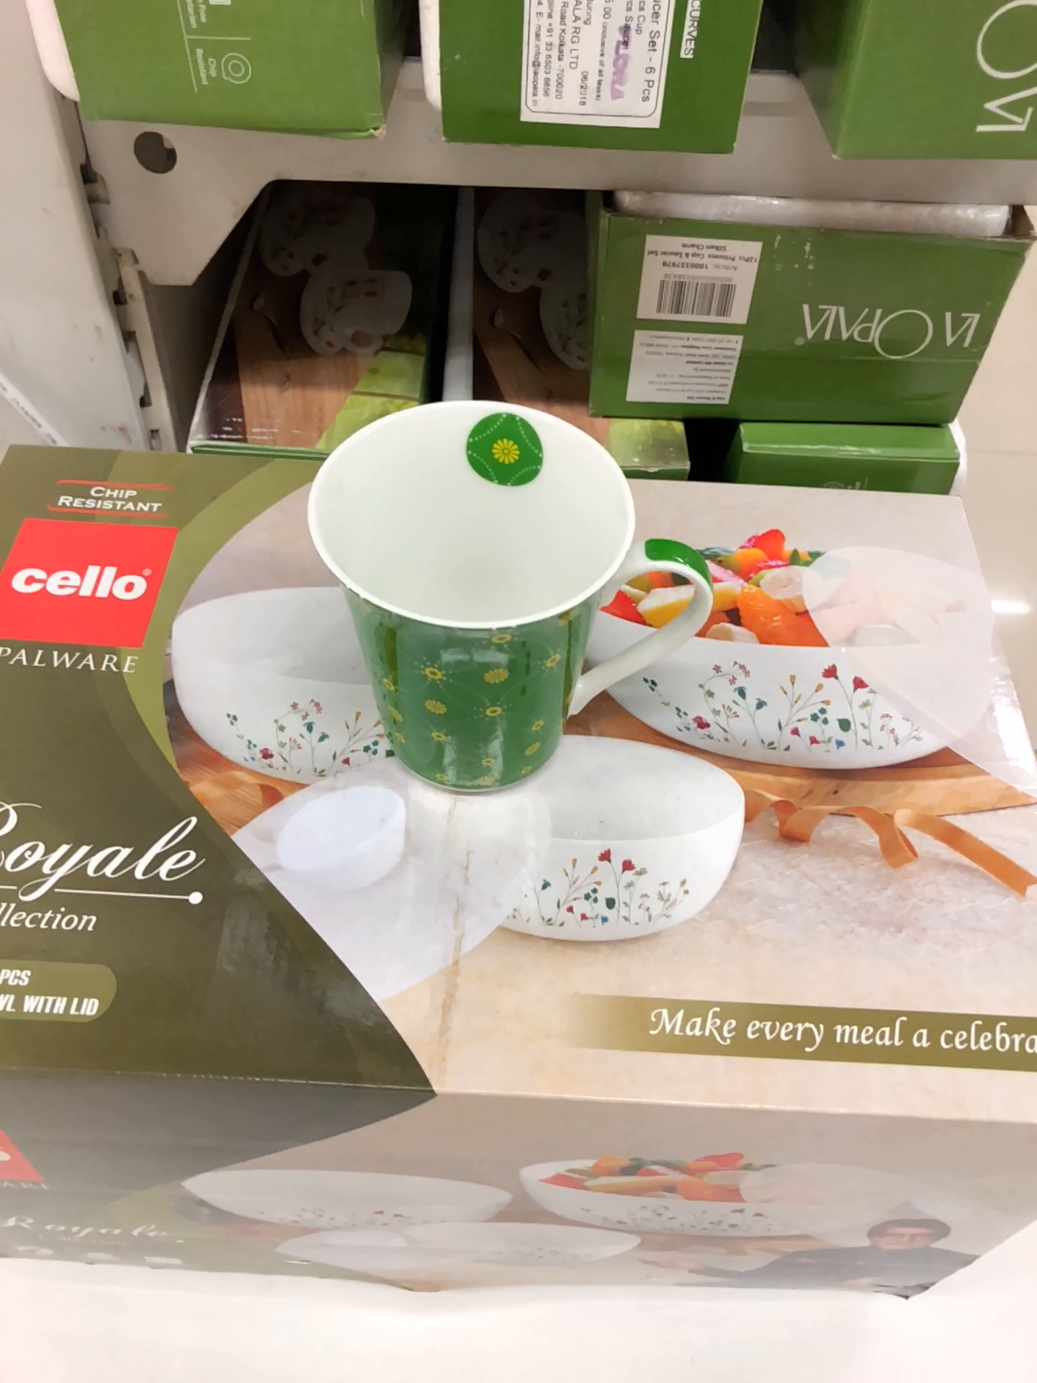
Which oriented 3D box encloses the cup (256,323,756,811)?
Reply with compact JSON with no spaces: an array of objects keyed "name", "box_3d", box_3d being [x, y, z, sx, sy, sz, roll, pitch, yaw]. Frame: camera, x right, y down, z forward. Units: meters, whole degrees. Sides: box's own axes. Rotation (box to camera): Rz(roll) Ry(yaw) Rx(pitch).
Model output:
[{"name":"cup","box_3d":[-0.003,-0.033,0.316,0.110,0.089,0.091,3,50,-1]}]
